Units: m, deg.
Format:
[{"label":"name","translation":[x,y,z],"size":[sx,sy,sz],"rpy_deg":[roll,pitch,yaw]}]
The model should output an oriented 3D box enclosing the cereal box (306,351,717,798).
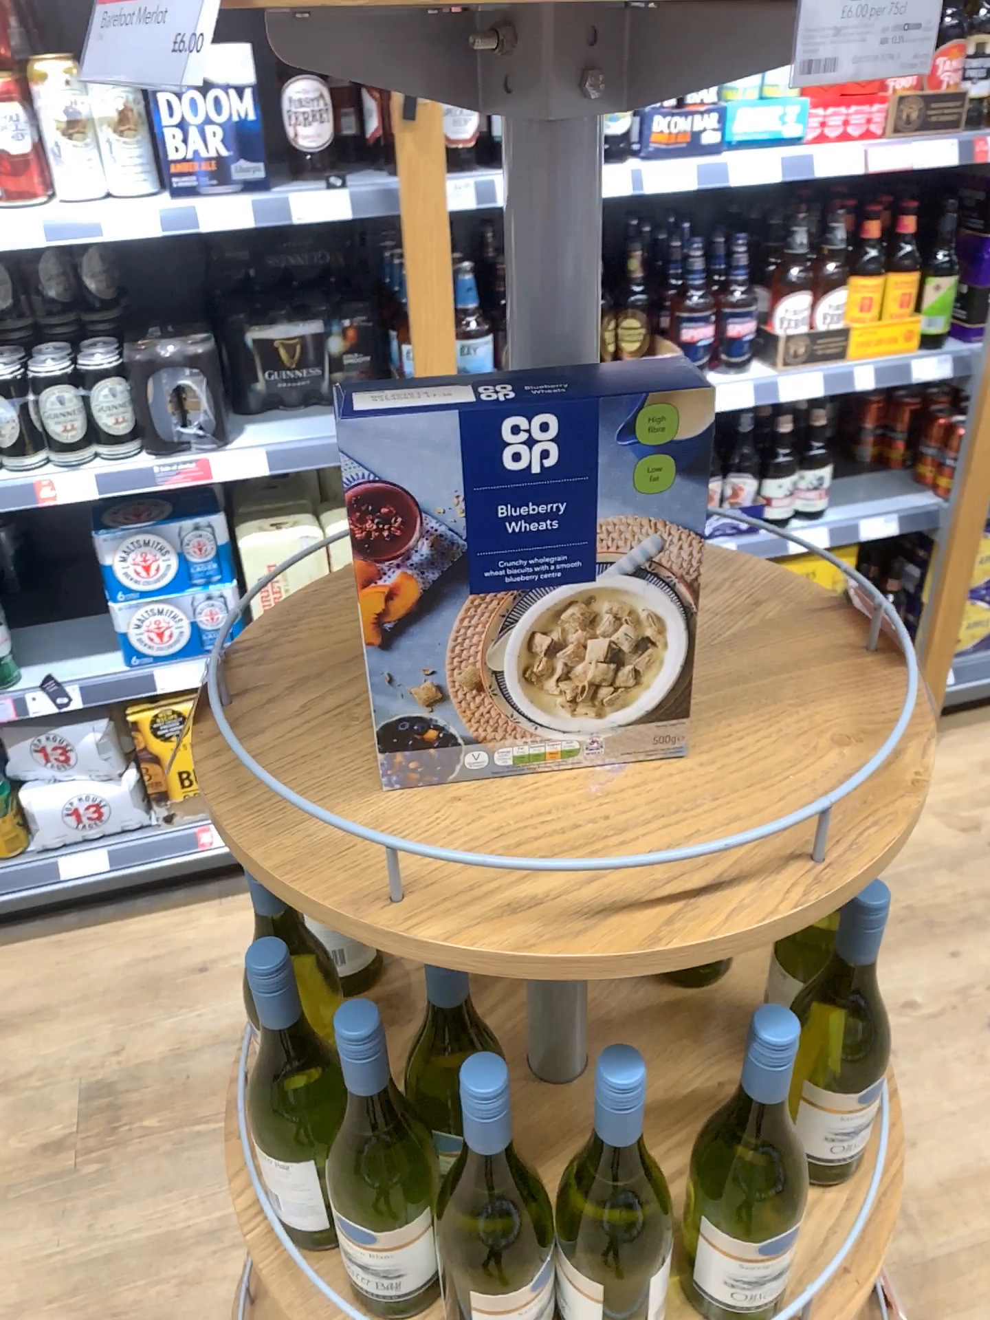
[{"label":"cereal box","translation":[0.010,-0.043,0.572],"size":[0.200,0.228,0.061],"rpy_deg":[-6,32,-6]}]
